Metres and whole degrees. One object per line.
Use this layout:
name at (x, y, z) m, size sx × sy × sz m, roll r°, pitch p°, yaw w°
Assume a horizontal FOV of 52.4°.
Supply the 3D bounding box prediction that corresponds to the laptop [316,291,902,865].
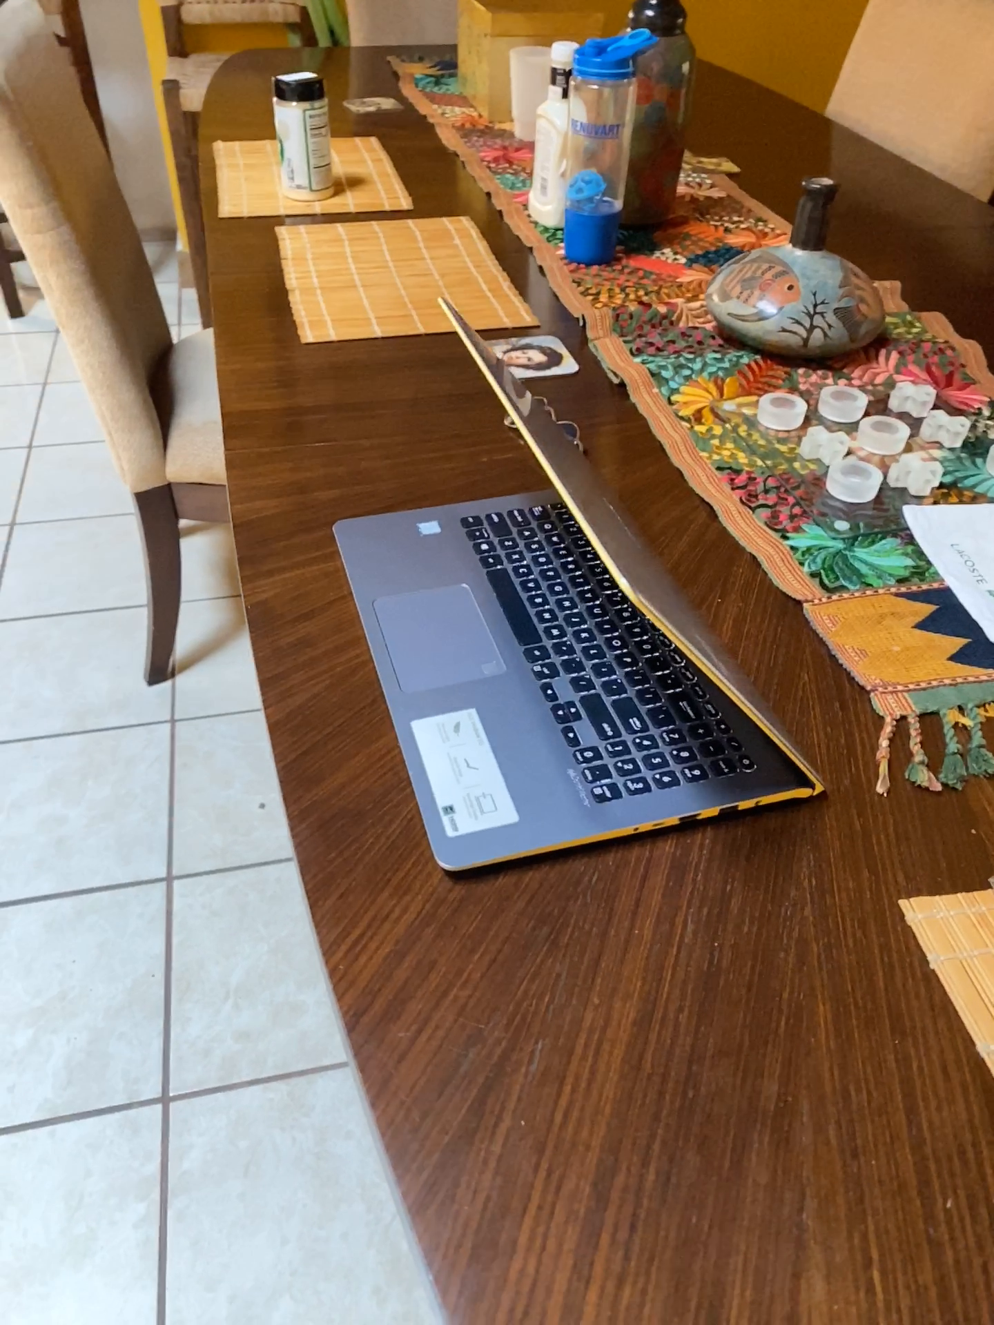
laptop at (0.038, -0.089, 0.706) m, size 0.250 × 0.180 × 0.378 m, roll -10°, pitch 43°, yaw -14°
